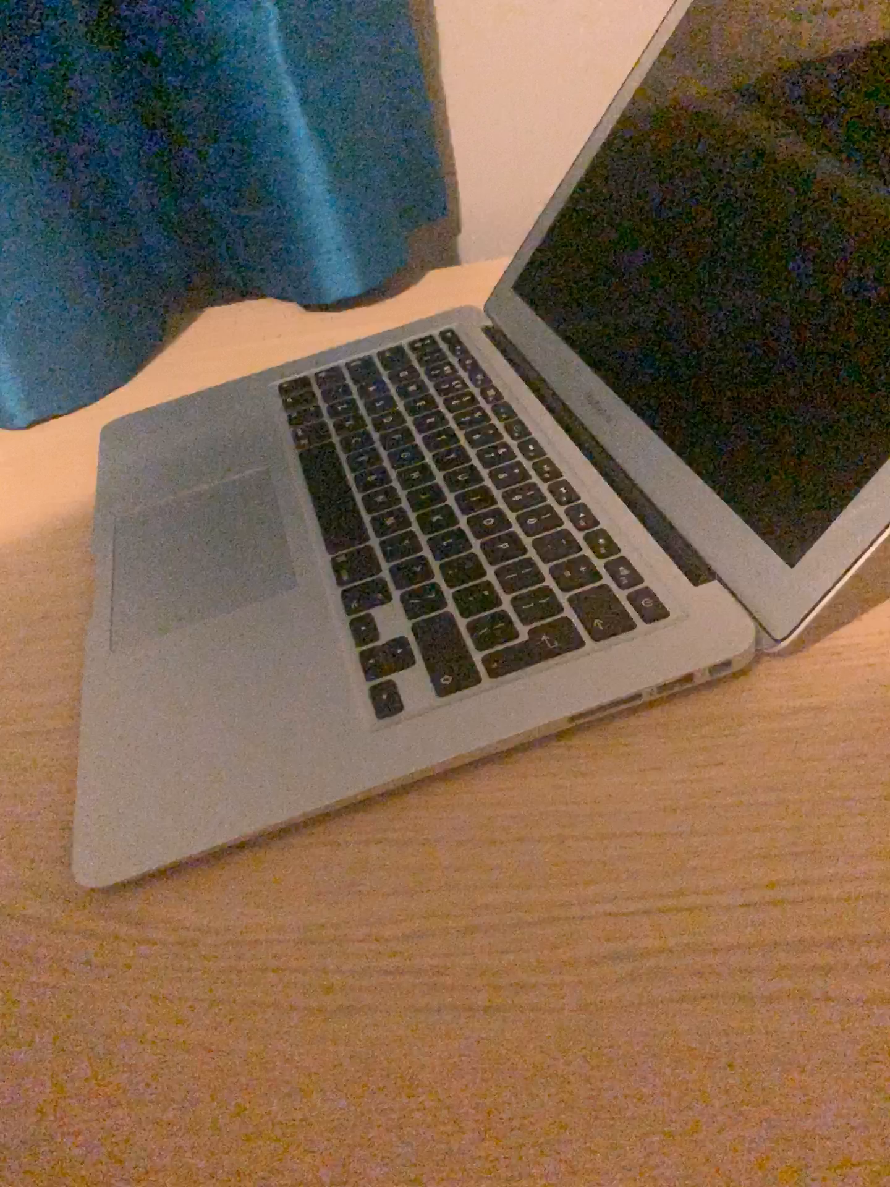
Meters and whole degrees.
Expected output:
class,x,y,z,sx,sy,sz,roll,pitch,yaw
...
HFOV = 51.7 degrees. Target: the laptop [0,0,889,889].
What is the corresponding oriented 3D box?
class,x,y,z,sx,sy,sz,roll,pitch,yaw
laptop,0.014,-0.118,0.354,0.368,0.144,0.304,-19,39,-6
